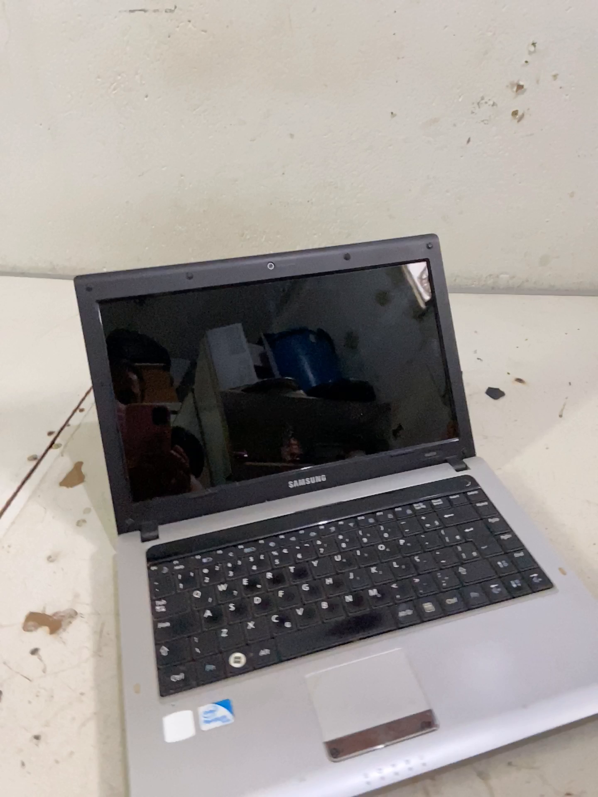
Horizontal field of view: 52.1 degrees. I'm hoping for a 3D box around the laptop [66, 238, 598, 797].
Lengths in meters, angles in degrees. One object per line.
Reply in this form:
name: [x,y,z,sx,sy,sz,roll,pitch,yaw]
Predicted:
laptop: [0.029,0.045,0.448,0.334,0.172,0.364,-10,36,-13]
